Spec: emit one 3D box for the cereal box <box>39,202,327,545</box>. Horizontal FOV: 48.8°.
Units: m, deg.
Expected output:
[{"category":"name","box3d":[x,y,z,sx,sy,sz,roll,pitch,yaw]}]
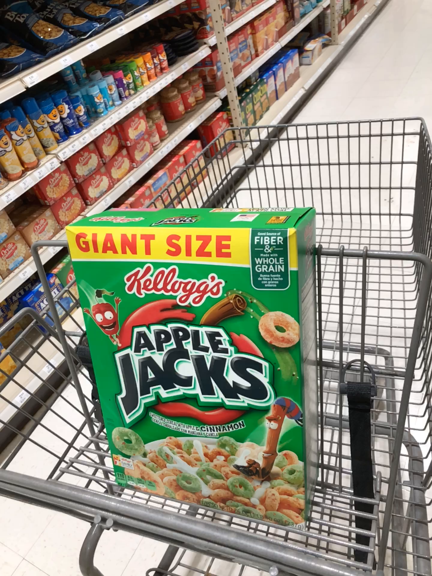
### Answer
[{"category":"cereal box","box3d":[-0.021,0.080,0.498,0.250,0.319,0.090,3,22,23]}]
